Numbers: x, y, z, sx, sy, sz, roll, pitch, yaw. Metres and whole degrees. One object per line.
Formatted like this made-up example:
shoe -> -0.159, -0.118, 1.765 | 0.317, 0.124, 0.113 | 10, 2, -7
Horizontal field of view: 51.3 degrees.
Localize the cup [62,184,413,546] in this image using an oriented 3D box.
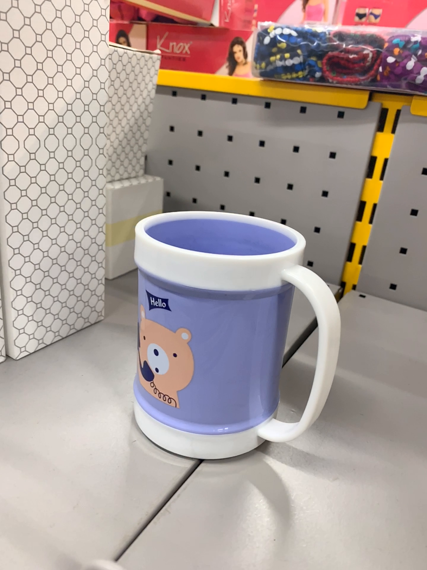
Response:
cup -> 0.006, 0.018, 0.208 | 0.120, 0.100, 0.090 | 22, 27, 32
